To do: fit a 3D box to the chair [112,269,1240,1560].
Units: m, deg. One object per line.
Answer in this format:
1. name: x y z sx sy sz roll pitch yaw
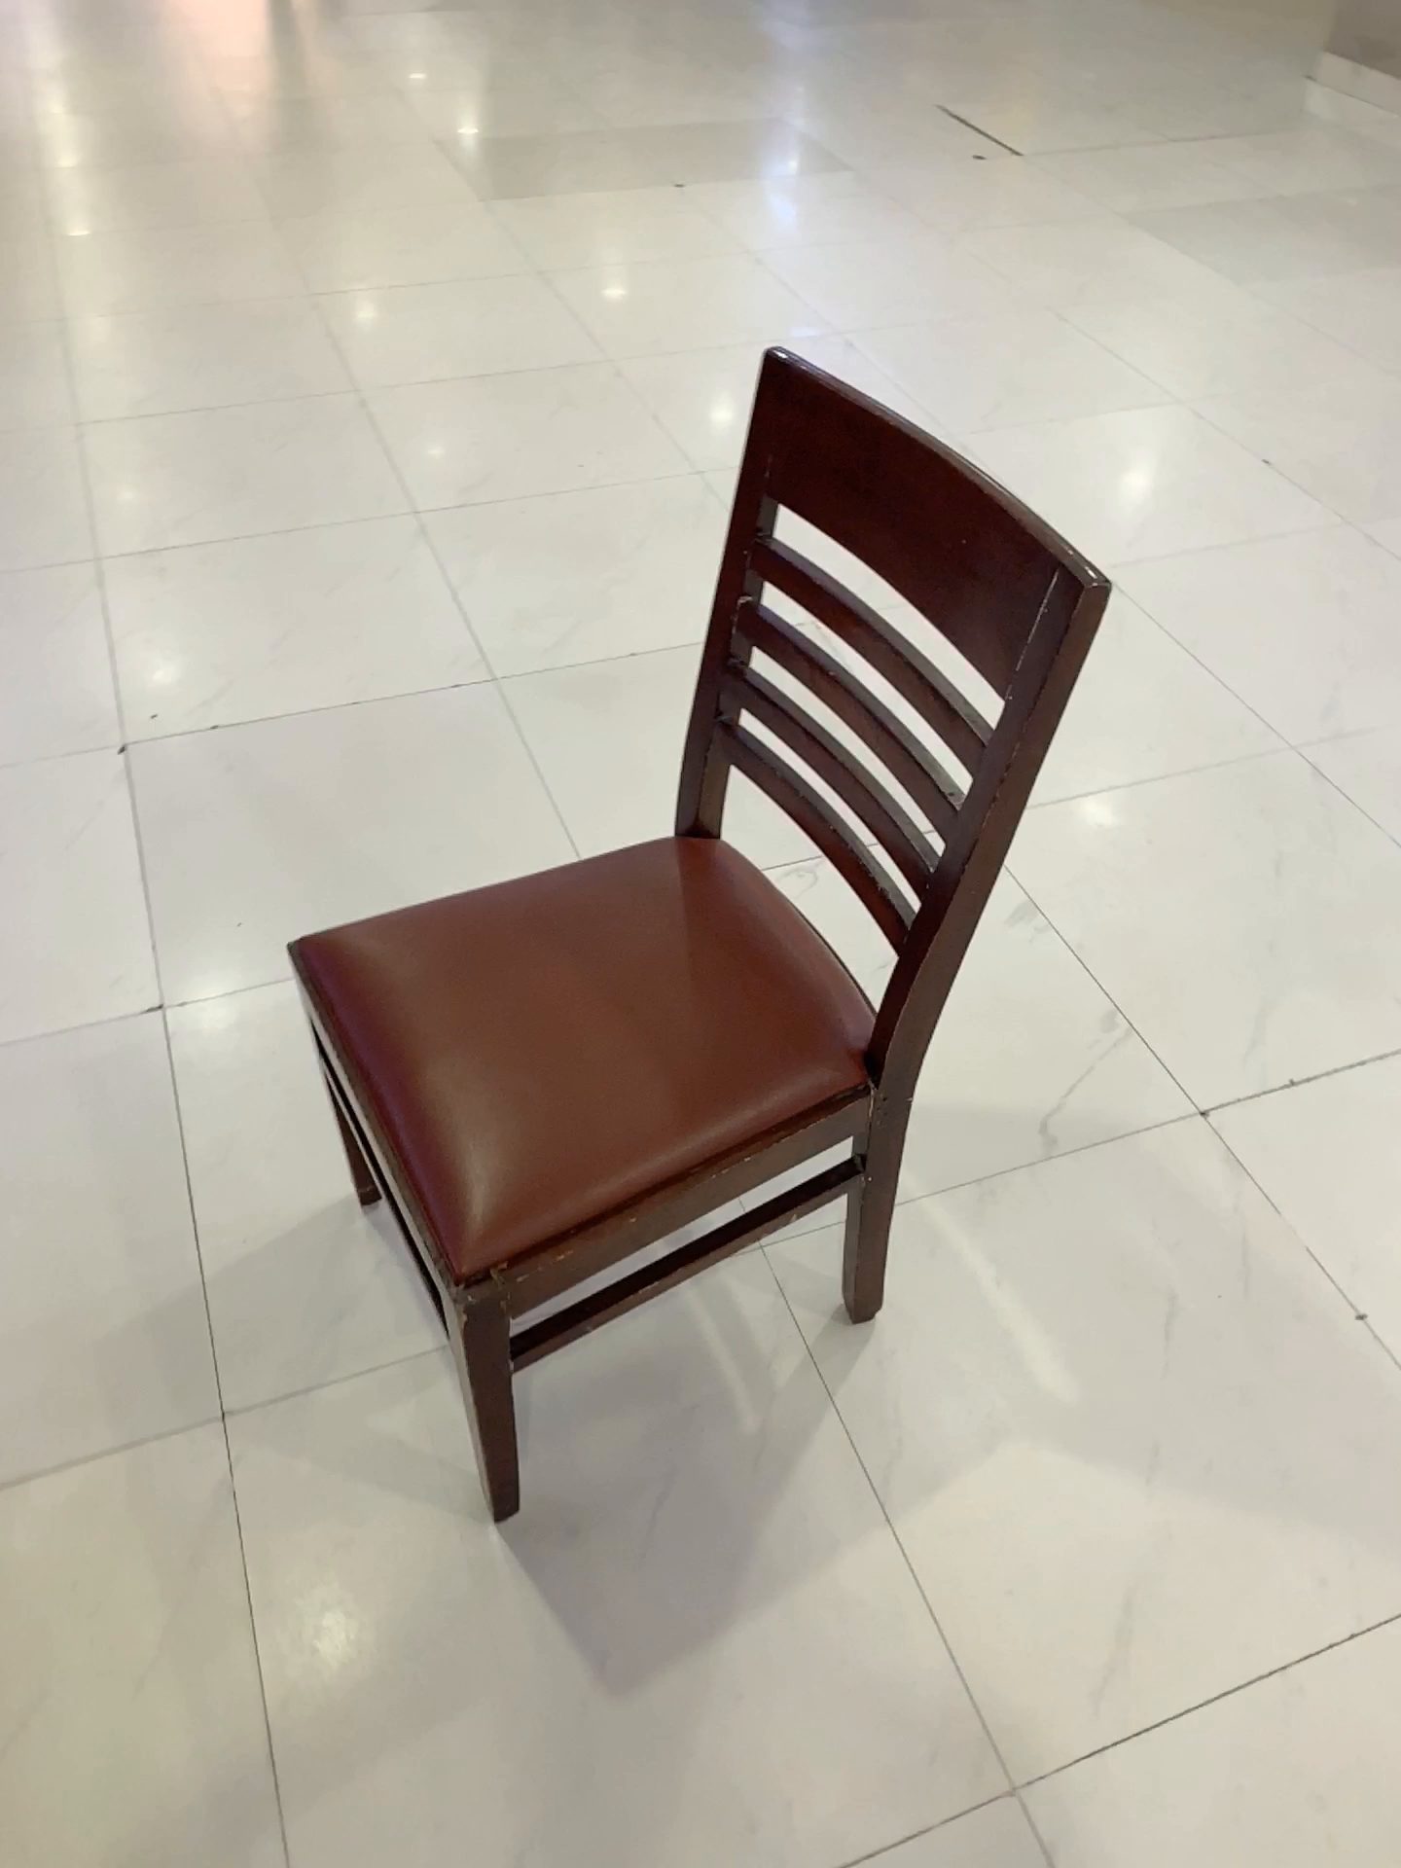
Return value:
1. chair: -0.060 -0.021 1.197 0.541 0.783 0.564 -19 47 -21
